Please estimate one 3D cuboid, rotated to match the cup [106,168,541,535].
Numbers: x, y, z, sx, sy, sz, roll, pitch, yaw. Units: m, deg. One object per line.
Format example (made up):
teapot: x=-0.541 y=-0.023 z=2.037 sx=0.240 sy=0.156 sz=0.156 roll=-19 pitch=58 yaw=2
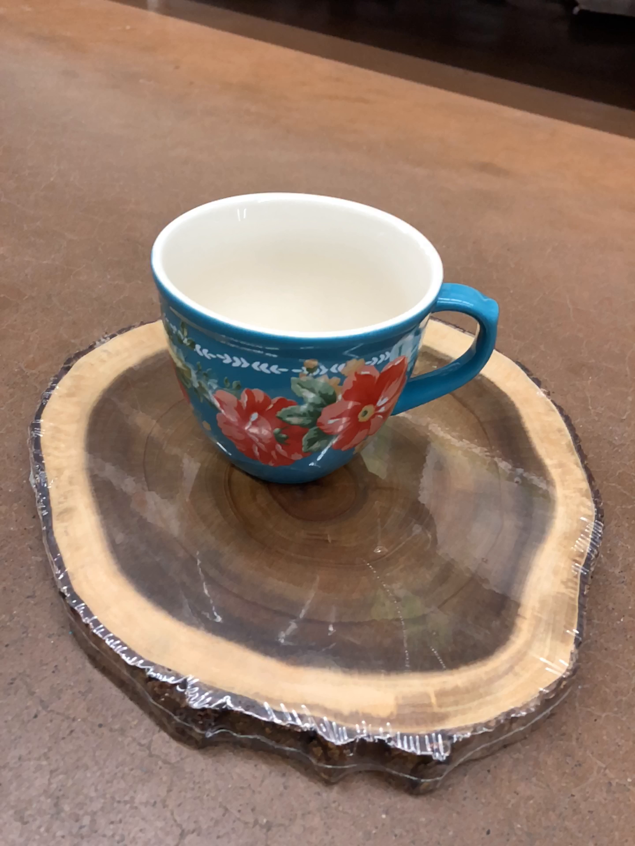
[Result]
cup: x=0.005 y=-0.032 z=0.272 sx=0.130 sy=0.080 sz=0.100 roll=9 pitch=41 yaw=4
